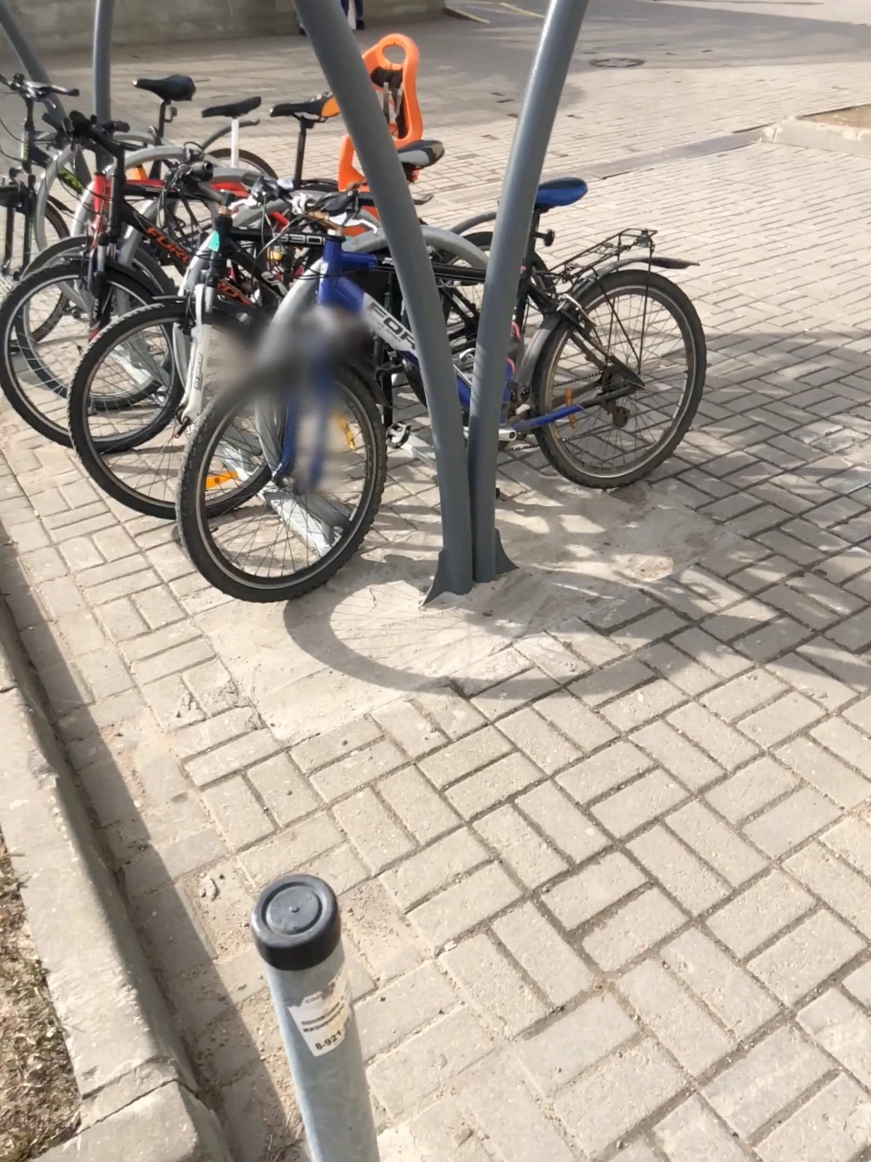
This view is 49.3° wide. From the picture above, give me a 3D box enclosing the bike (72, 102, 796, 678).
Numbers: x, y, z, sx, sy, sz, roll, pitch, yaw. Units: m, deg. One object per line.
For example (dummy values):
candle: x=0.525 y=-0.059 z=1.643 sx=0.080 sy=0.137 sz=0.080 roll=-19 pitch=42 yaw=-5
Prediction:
bike: x=0.070 y=-0.600 z=2.470 sx=1.661 sy=0.959 sz=0.629 roll=-21 pitch=39 yaw=-26
